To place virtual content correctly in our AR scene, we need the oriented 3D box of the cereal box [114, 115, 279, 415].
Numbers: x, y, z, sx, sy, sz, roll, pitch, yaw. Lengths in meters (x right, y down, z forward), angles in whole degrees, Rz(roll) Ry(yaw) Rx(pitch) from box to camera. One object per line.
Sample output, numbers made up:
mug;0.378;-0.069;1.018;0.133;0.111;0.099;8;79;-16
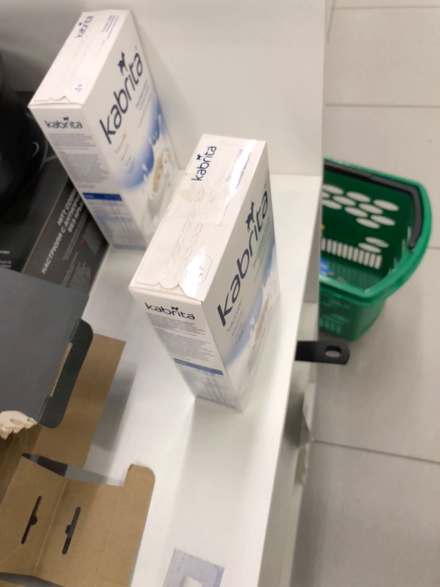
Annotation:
cereal box;0.001;-0.007;0.400;0.050;0.219;0.141;12;62;17
